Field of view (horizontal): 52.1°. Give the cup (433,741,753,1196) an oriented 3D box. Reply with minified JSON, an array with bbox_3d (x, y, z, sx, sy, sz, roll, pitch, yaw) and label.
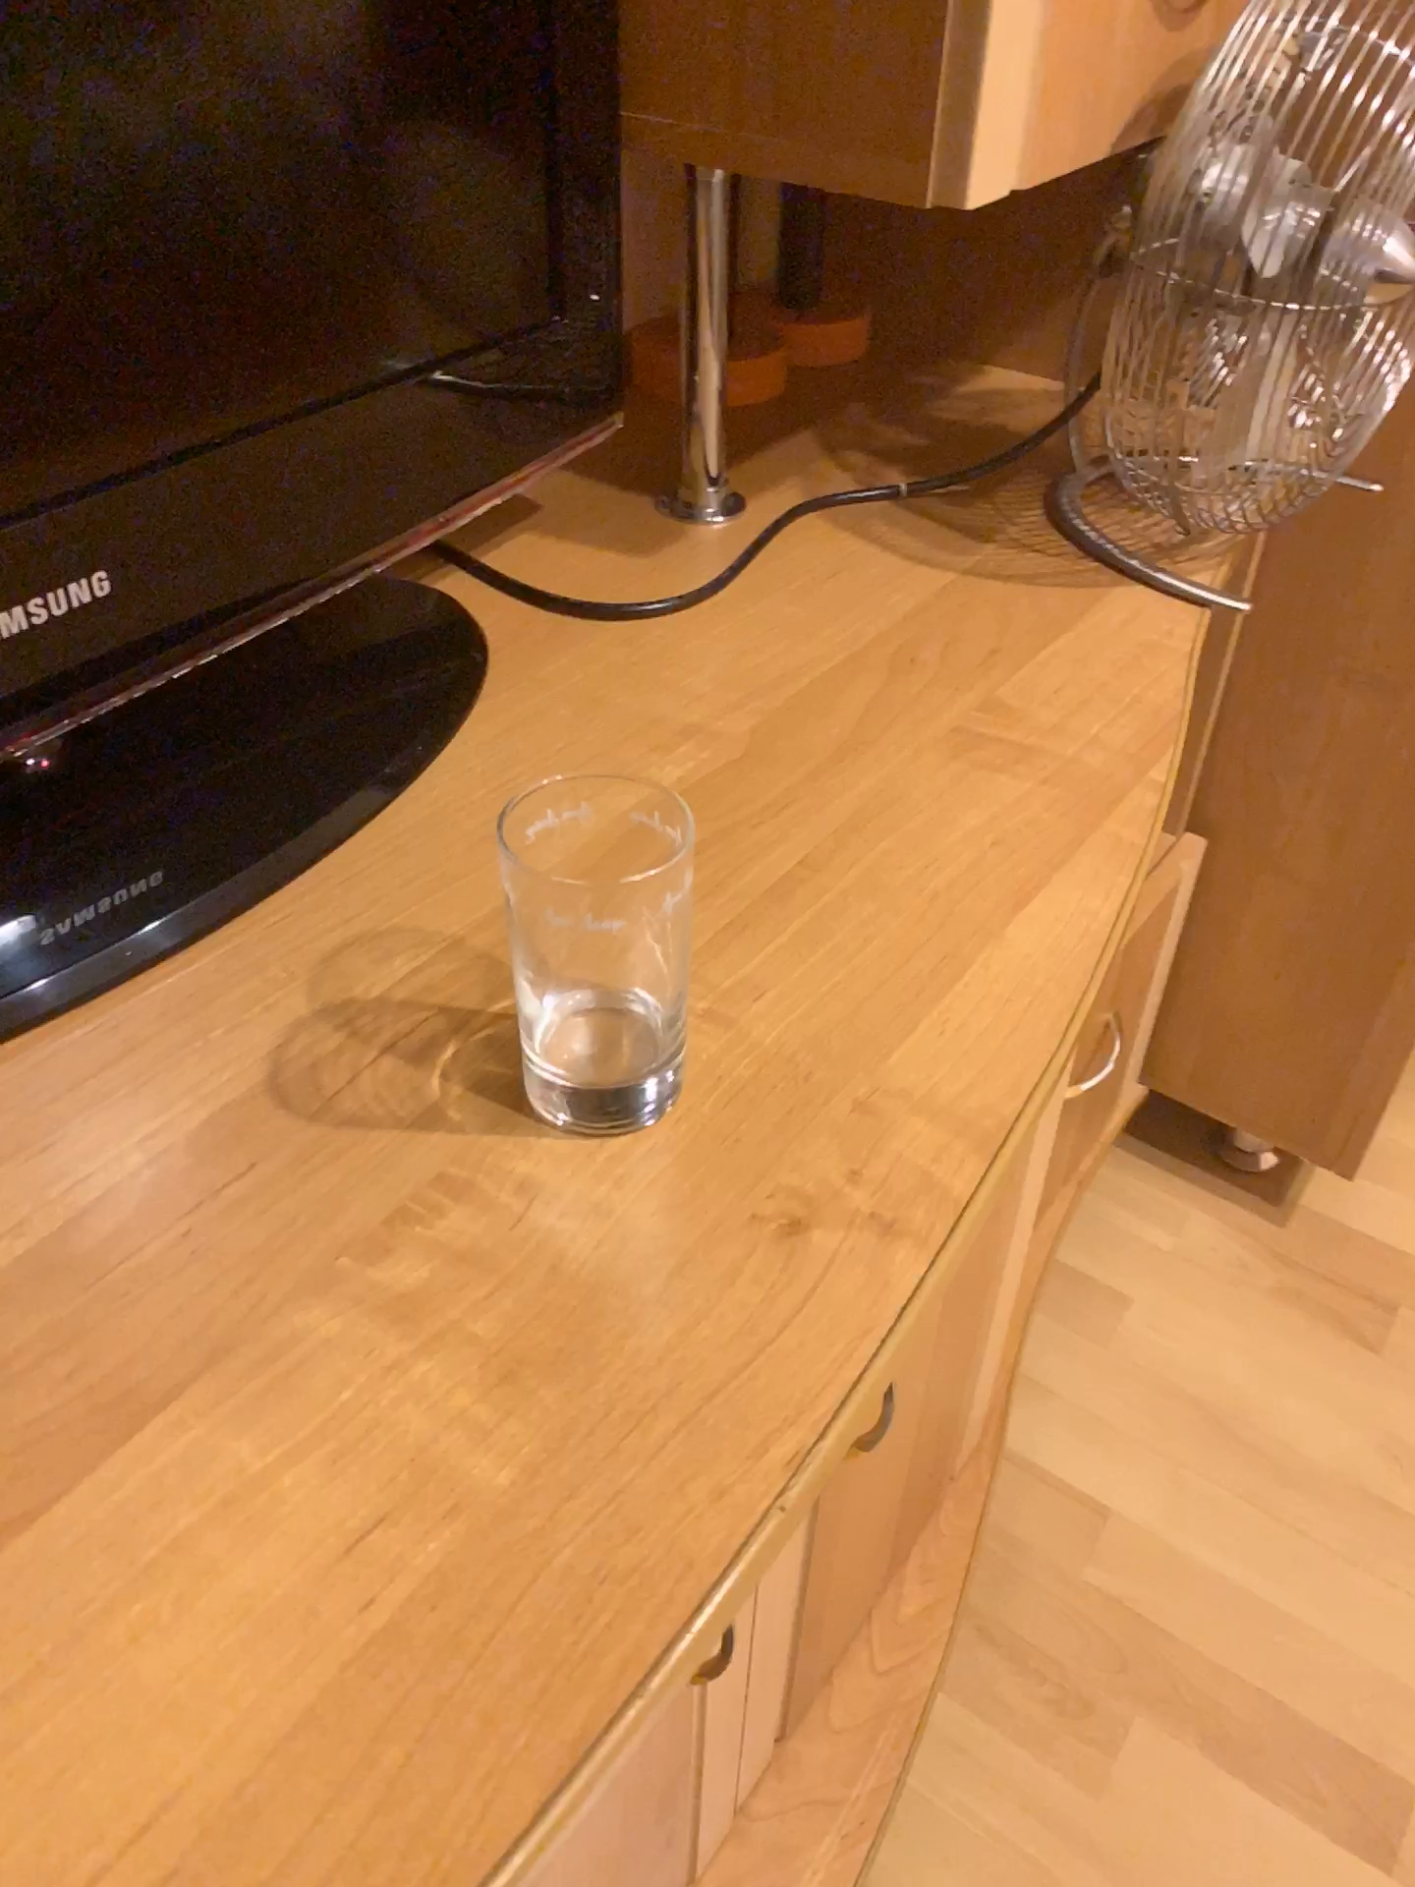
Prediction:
[{"bbox_3d":[-0.031,0.007,0.416,0.060,0.098,0.061,1,39,-1],"label":"cup"}]
